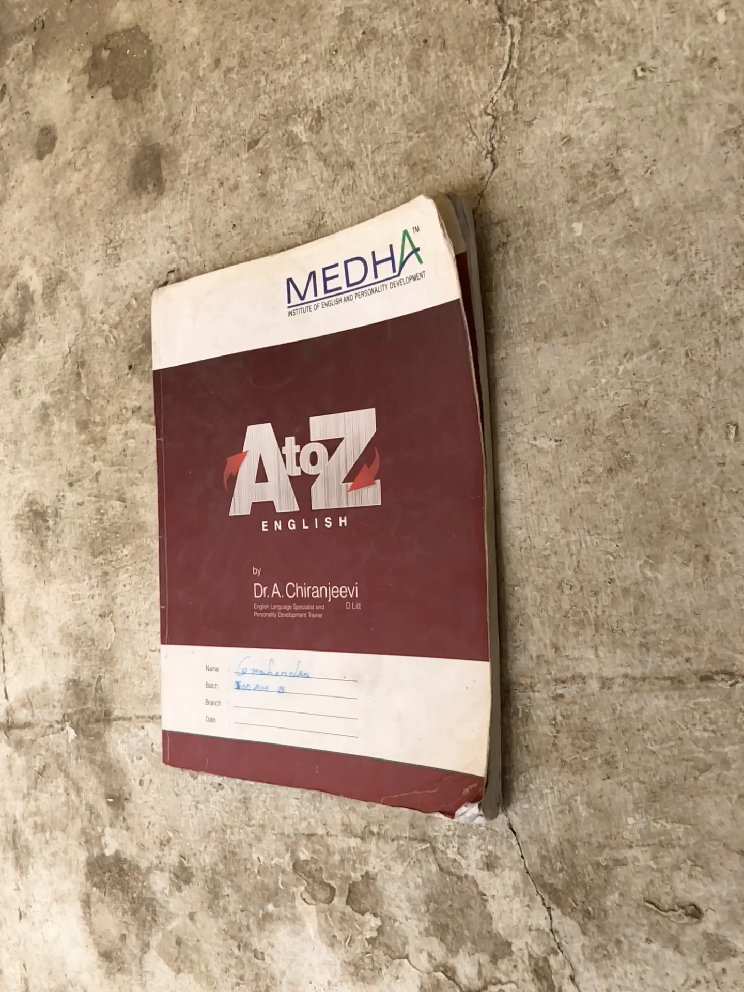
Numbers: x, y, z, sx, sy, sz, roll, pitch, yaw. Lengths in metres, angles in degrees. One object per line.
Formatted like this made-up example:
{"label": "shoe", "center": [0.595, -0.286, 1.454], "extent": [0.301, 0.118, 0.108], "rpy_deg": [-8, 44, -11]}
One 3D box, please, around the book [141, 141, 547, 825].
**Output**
{"label": "book", "center": [-0.029, -0.002, 0.410], "extent": [0.221, 0.030, 0.280], "rpy_deg": [-5, 84, 34]}
